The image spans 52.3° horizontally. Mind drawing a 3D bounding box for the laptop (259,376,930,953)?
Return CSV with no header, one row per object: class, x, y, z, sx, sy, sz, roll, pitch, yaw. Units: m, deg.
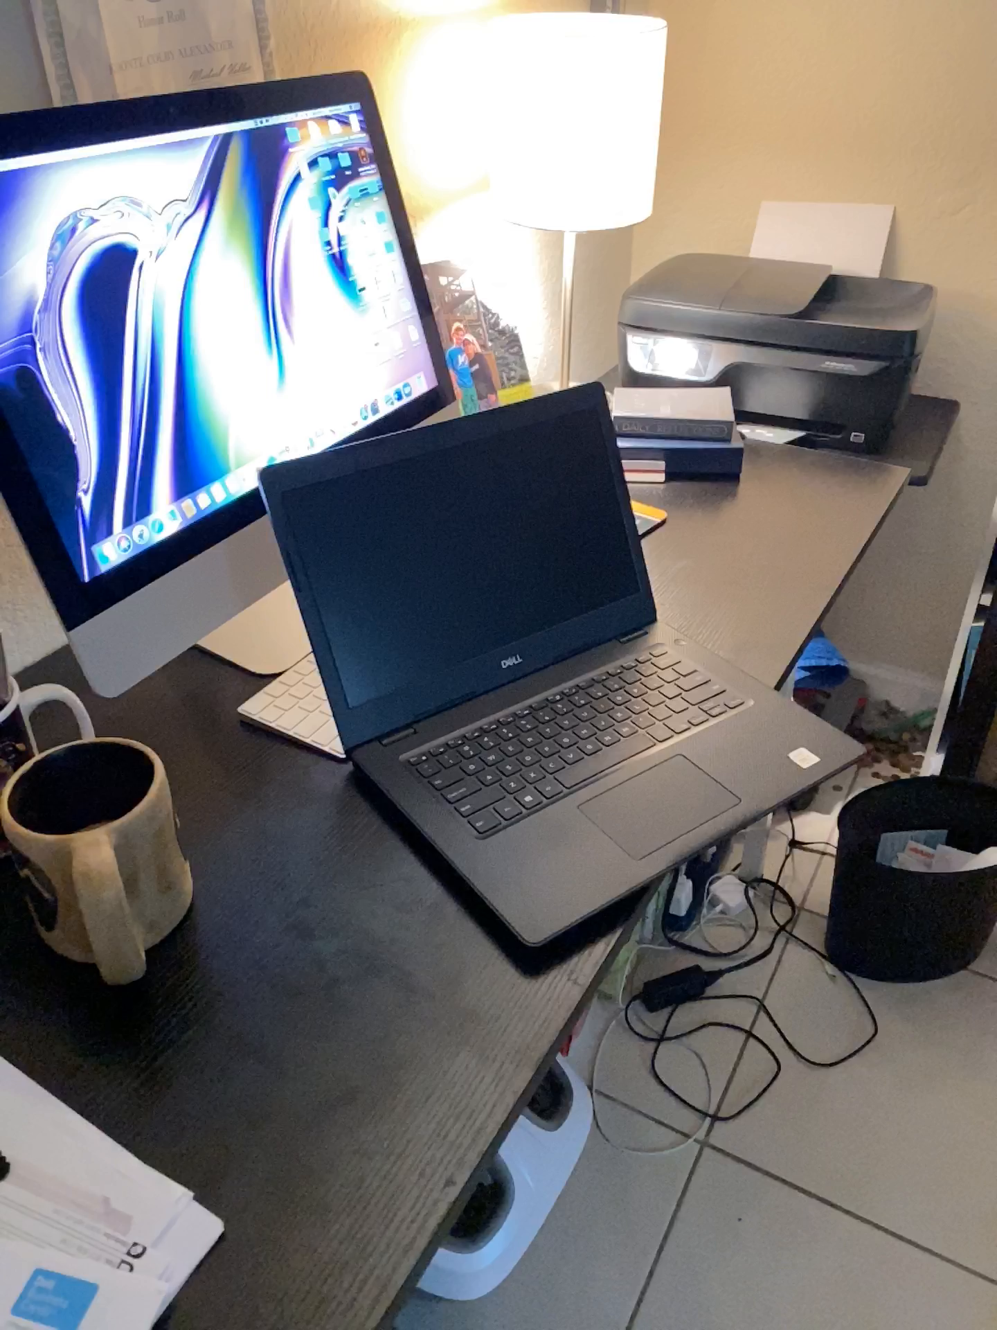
laptop,0.059,-0.039,0.786,0.337,0.206,0.344,-23,40,-28
